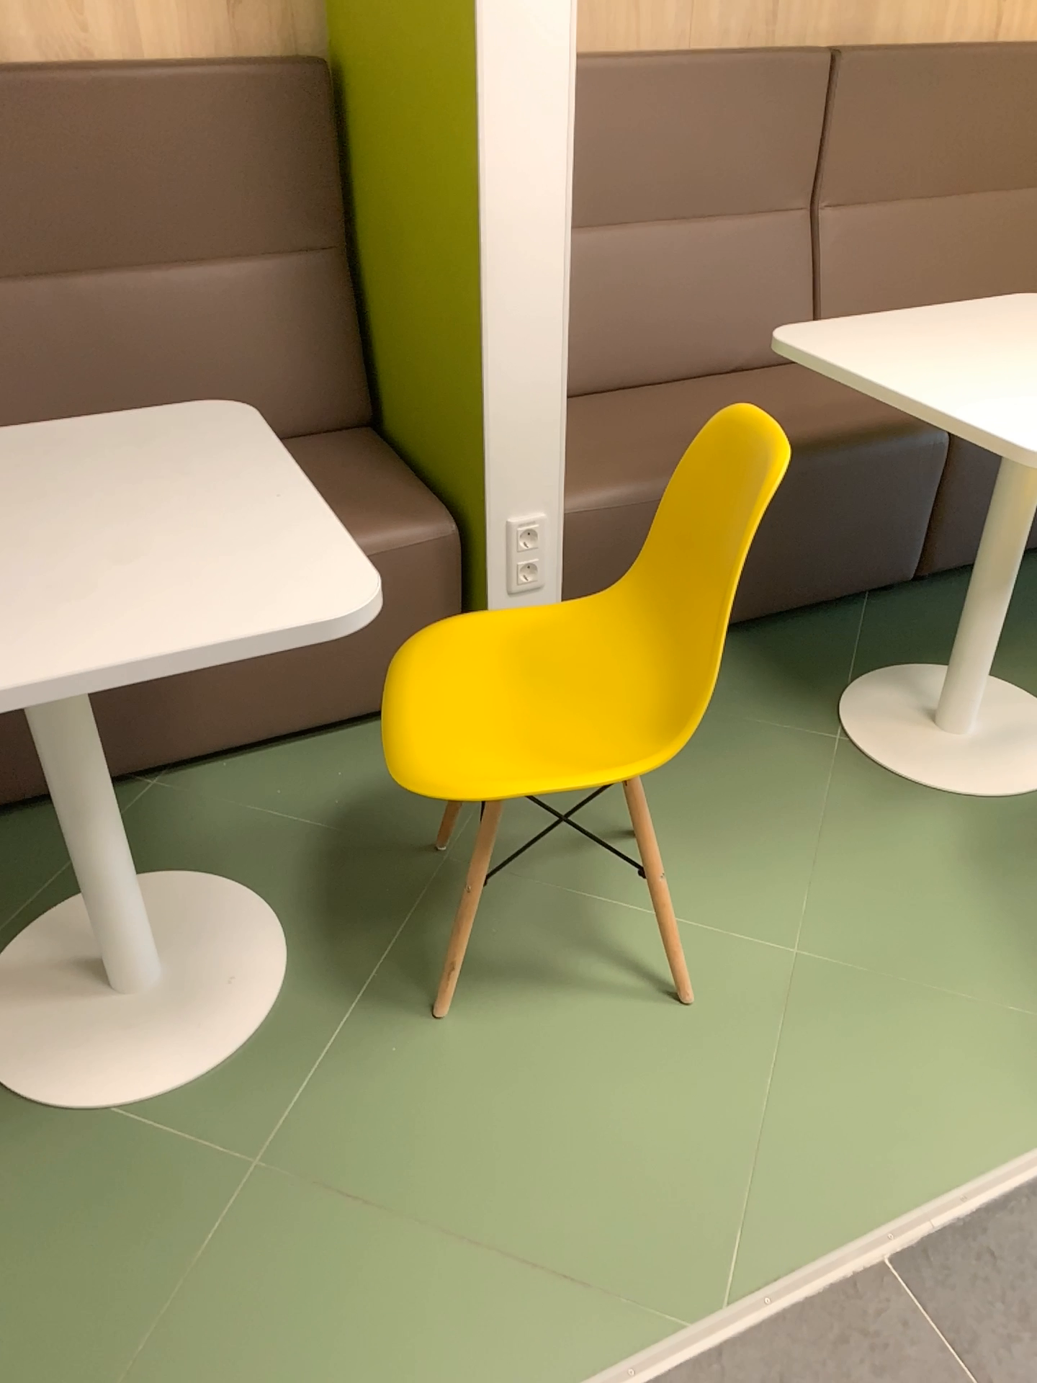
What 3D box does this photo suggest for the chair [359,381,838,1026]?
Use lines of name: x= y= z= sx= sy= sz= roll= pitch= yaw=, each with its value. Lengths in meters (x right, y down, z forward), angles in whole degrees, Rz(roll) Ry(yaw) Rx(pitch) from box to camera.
chair: x=0.066 y=0.025 z=1.528 sx=0.520 sy=0.815 sz=0.412 roll=-3 pitch=33 yaw=-5
